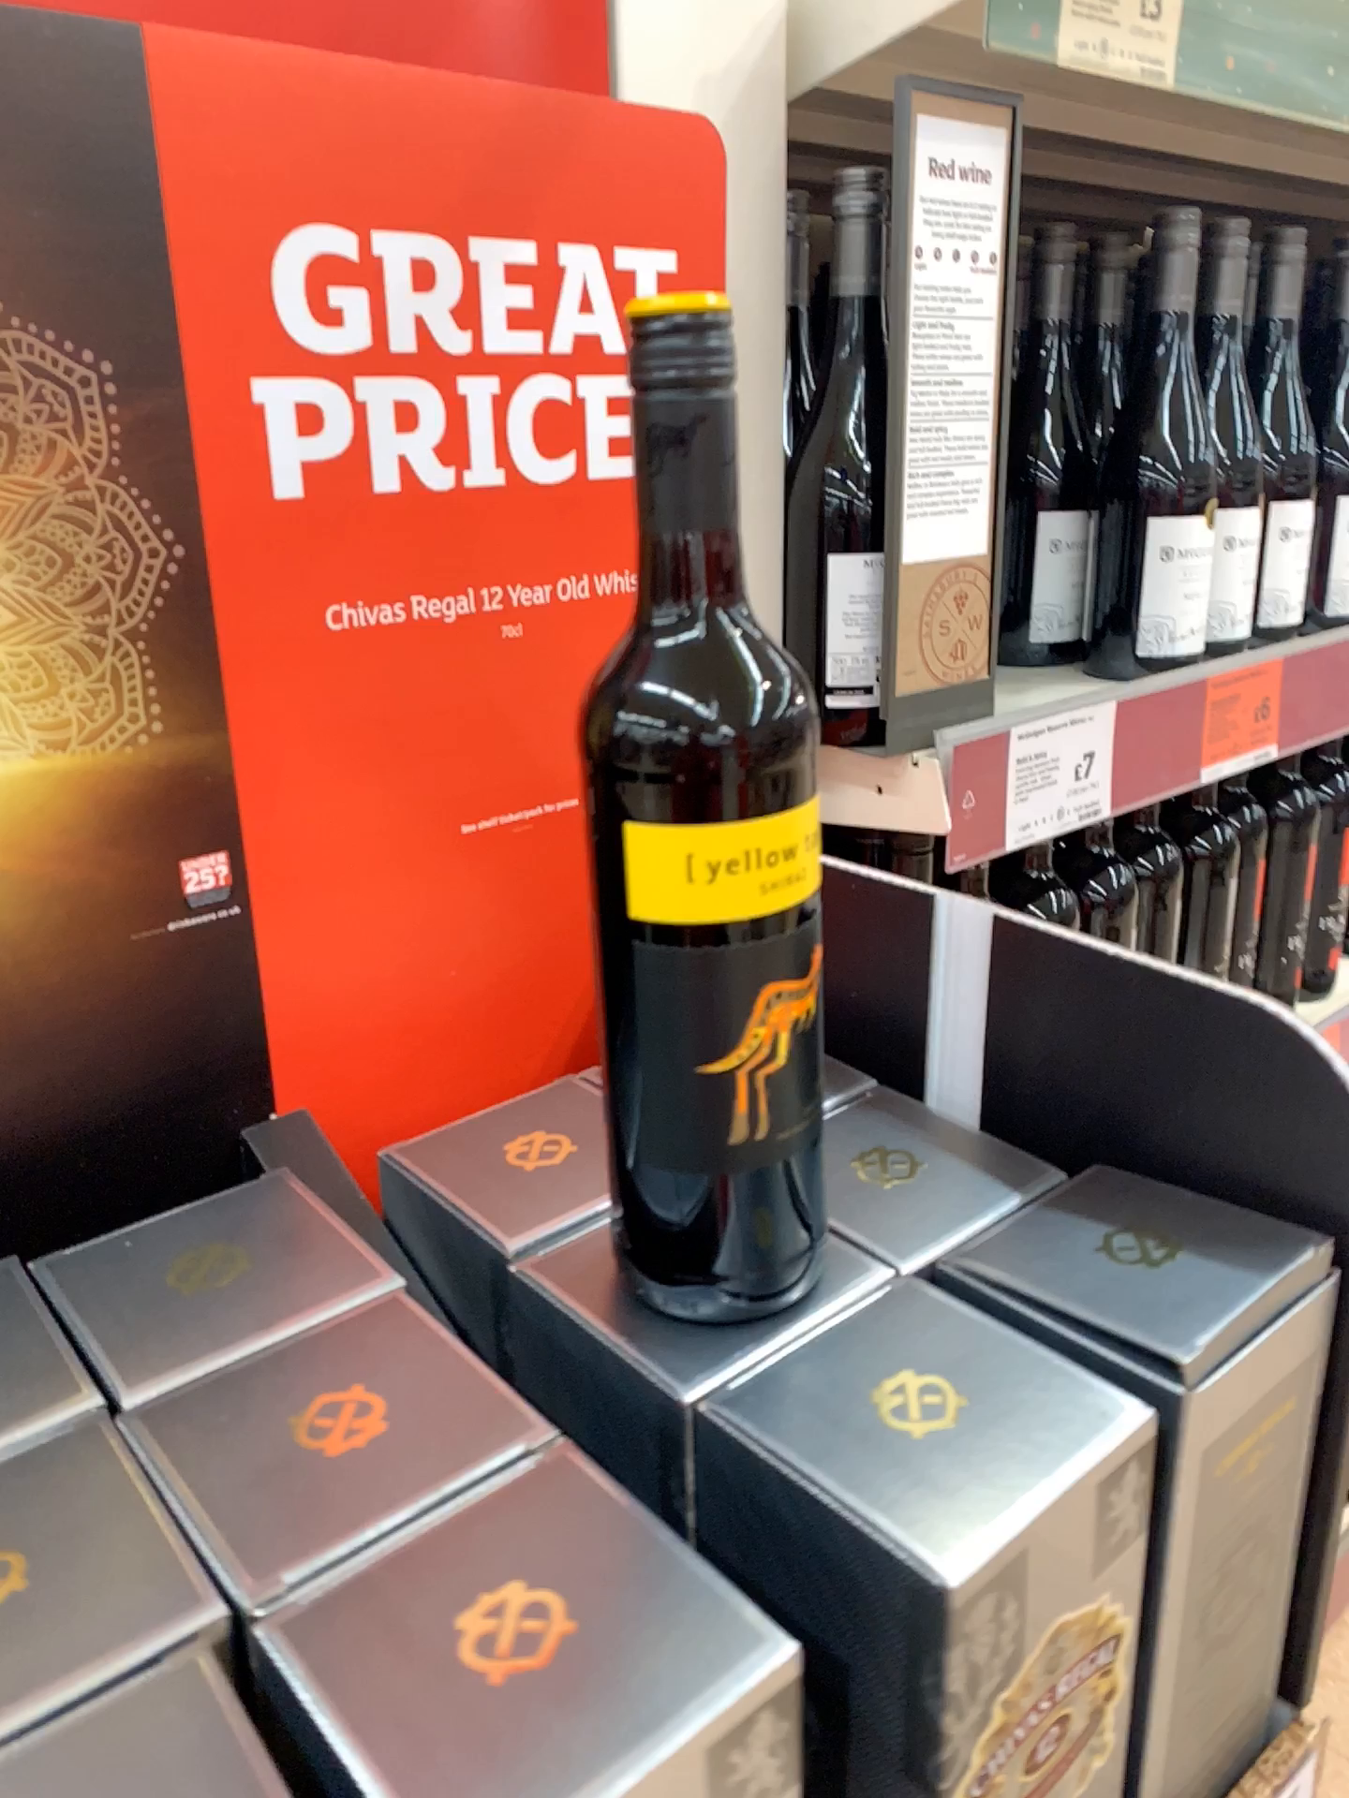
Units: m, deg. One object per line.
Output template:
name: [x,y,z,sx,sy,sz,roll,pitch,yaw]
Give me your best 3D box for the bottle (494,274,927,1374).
bottle: [0.012,-0.021,0.425,0.087,0.308,0.081,-1,19,0]
